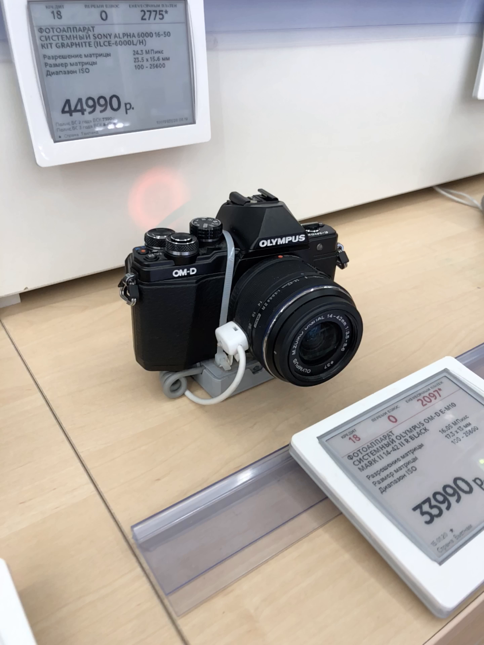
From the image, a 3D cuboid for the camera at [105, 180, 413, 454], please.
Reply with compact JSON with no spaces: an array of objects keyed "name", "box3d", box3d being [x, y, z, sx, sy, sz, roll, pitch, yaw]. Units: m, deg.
[{"name":"camera","box3d":[0.004,-0.013,0.276,0.112,0.079,0.100,-16,35,-24]}]
